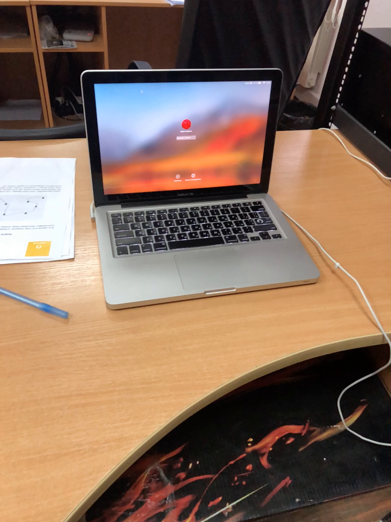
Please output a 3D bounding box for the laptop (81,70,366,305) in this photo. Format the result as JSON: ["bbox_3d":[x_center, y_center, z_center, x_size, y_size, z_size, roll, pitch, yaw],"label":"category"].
[{"bbox_3d":[0.010,-0.126,0.635,0.316,0.206,0.267,-7,43,-14],"label":"laptop"}]
